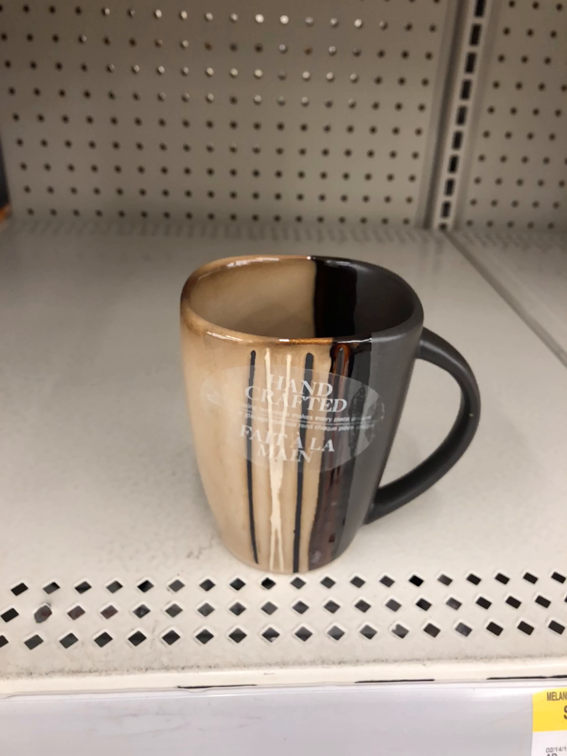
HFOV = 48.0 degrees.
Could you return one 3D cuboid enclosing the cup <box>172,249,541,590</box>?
[{"bbox_3d":[0.019,0.014,0.269,0.120,0.110,0.087,0,30,-5],"label":"cup"}]
